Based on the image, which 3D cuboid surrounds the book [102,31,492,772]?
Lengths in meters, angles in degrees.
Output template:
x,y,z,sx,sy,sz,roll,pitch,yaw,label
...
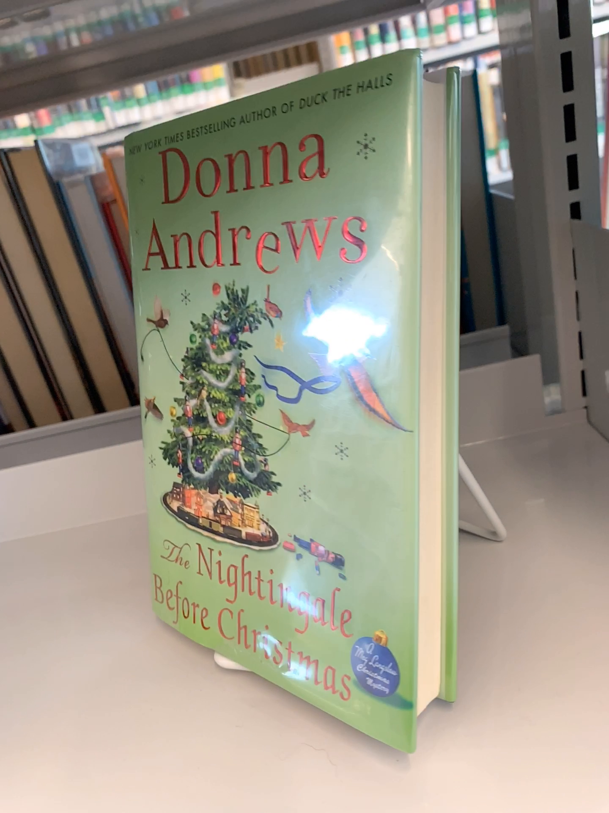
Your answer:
x,y,z,sx,sy,sz,roll,pitch,yaw,label
-0.013,-0.003,0.233,0.145,0.200,0.040,8,12,42,book
